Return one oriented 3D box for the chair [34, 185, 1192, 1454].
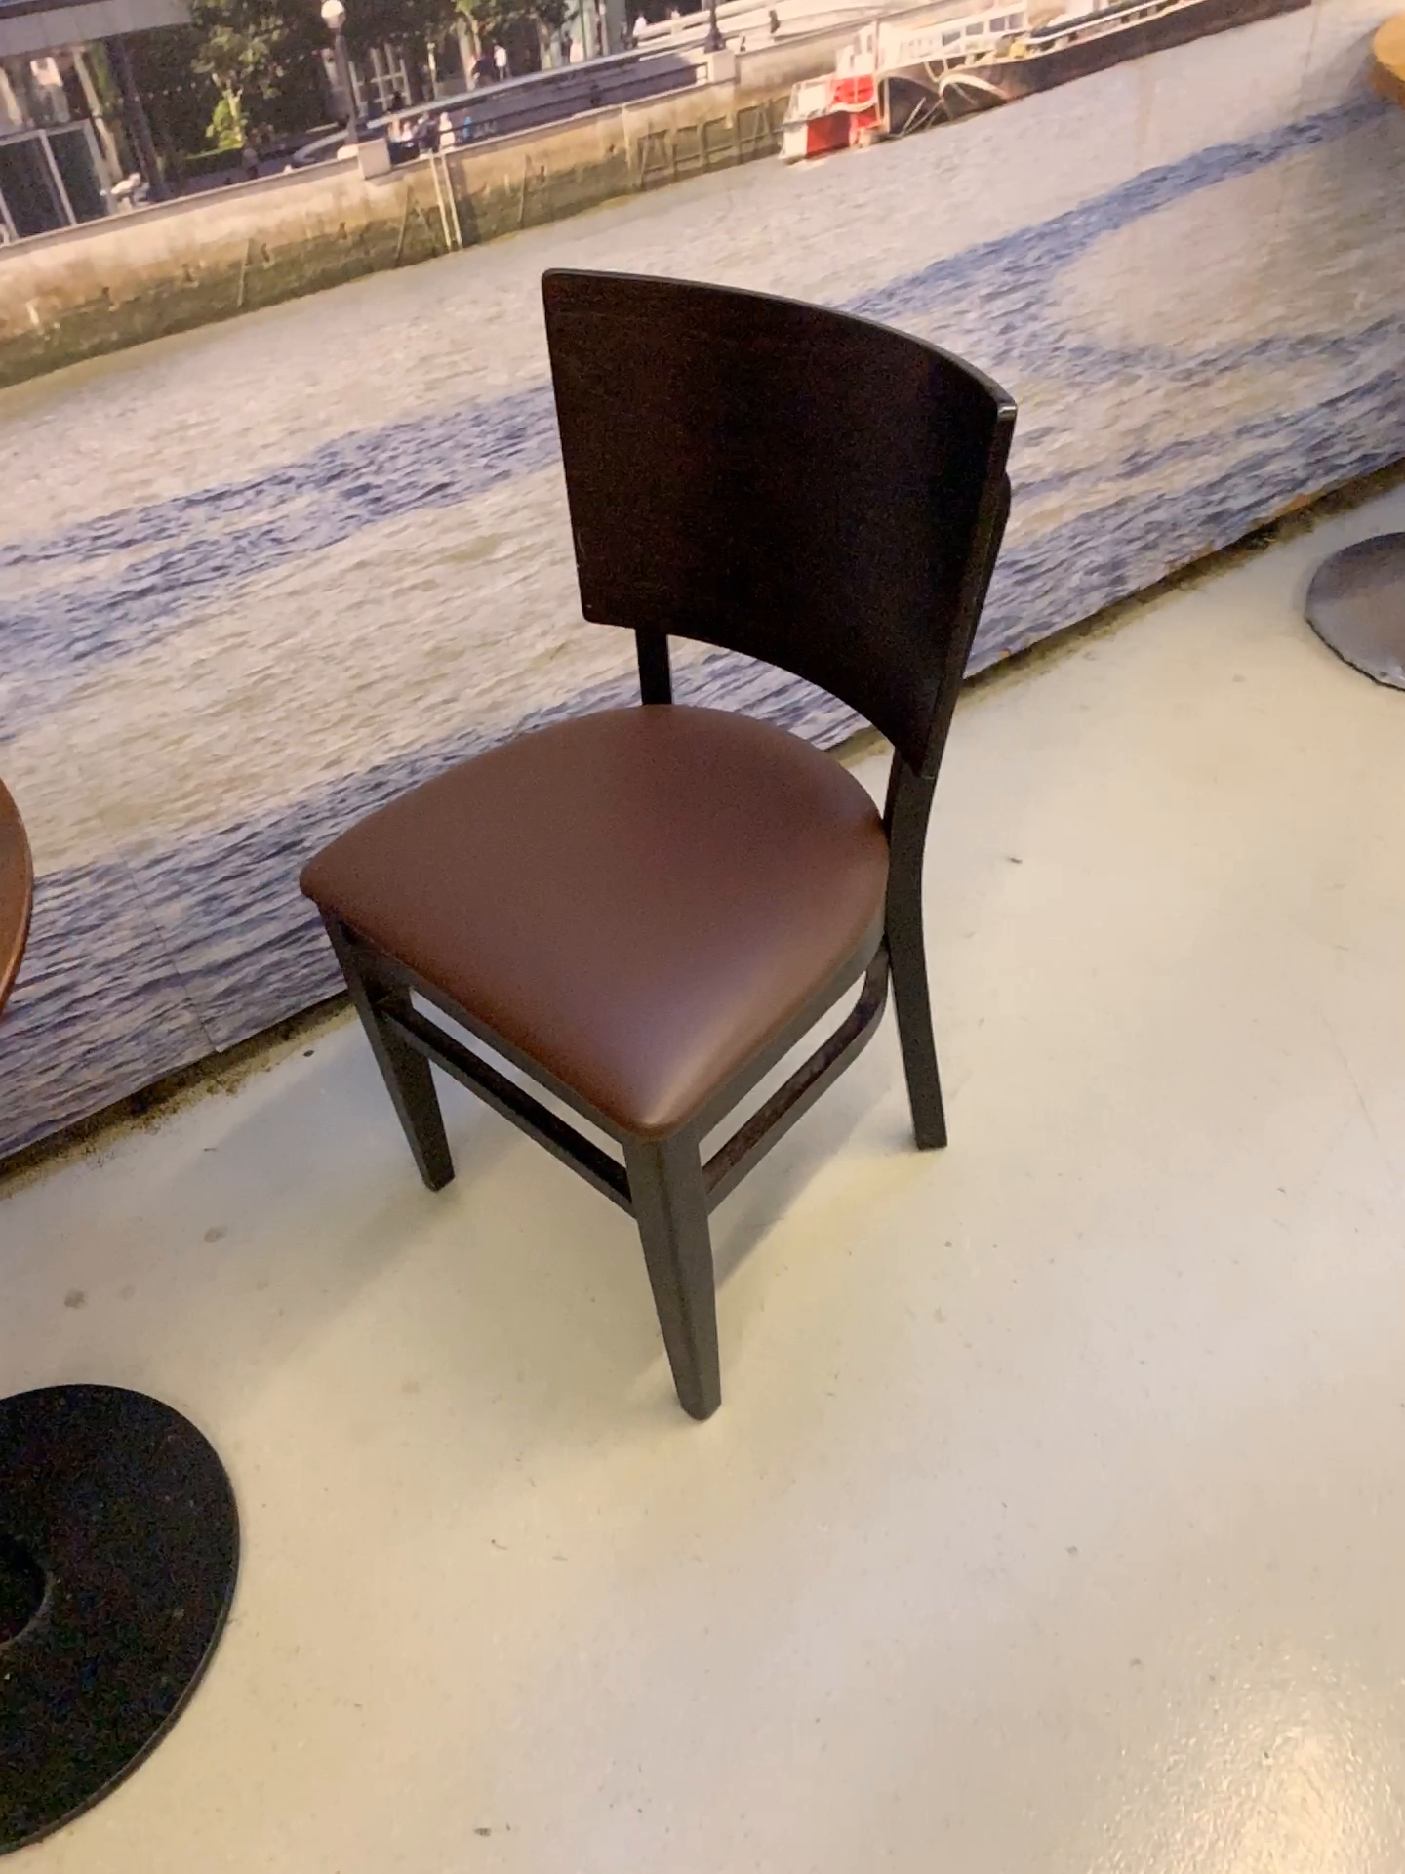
[{"bbox_3d":[-0.040,-0.108,1.180,0.561,0.729,0.518,32,55,33],"label":"chair"}]
